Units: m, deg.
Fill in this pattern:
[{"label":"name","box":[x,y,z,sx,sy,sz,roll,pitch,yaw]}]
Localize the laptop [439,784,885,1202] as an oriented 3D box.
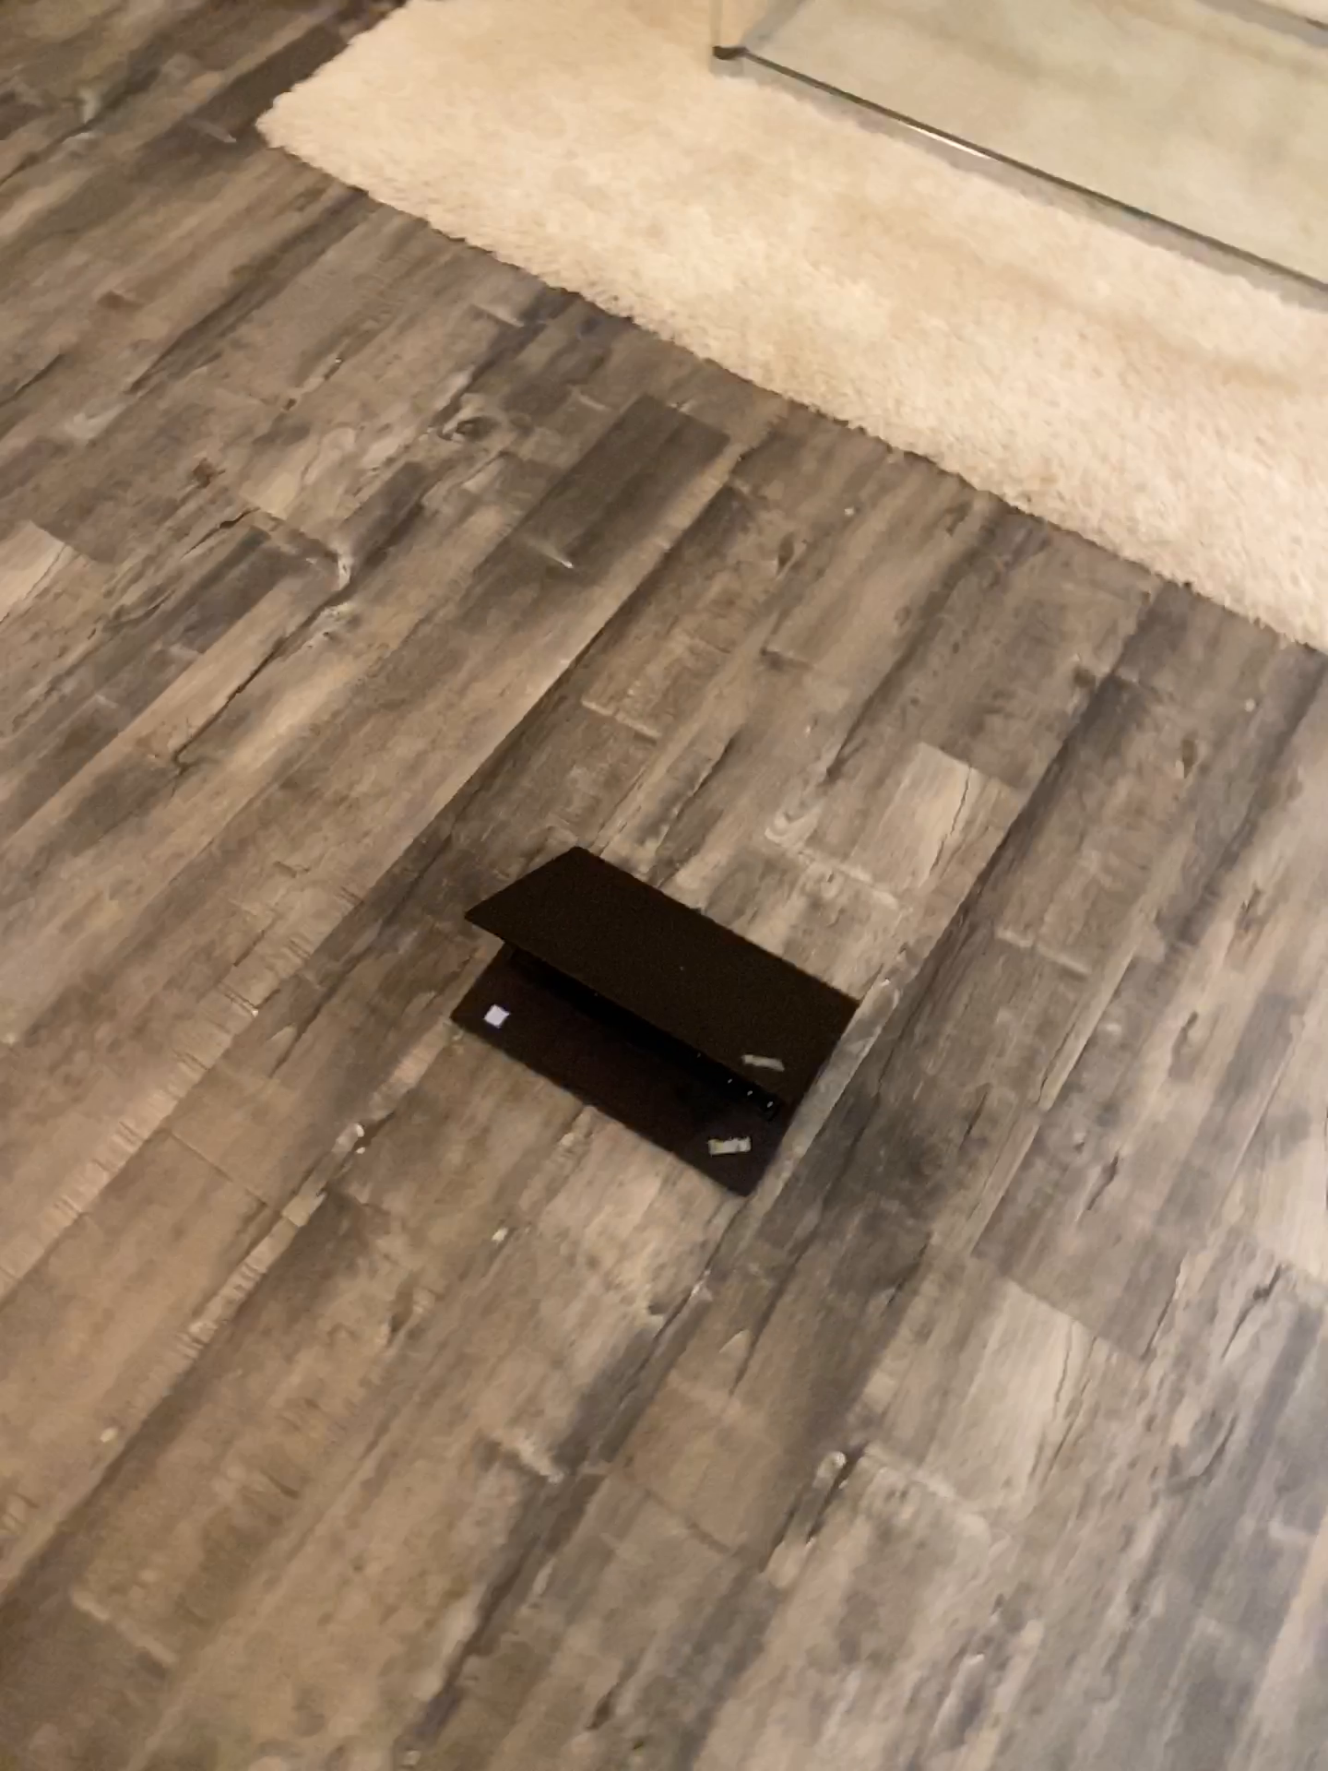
[{"label":"laptop","box":[-0.002,0.092,1.209,0.314,0.124,0.219,29,64,13]}]
